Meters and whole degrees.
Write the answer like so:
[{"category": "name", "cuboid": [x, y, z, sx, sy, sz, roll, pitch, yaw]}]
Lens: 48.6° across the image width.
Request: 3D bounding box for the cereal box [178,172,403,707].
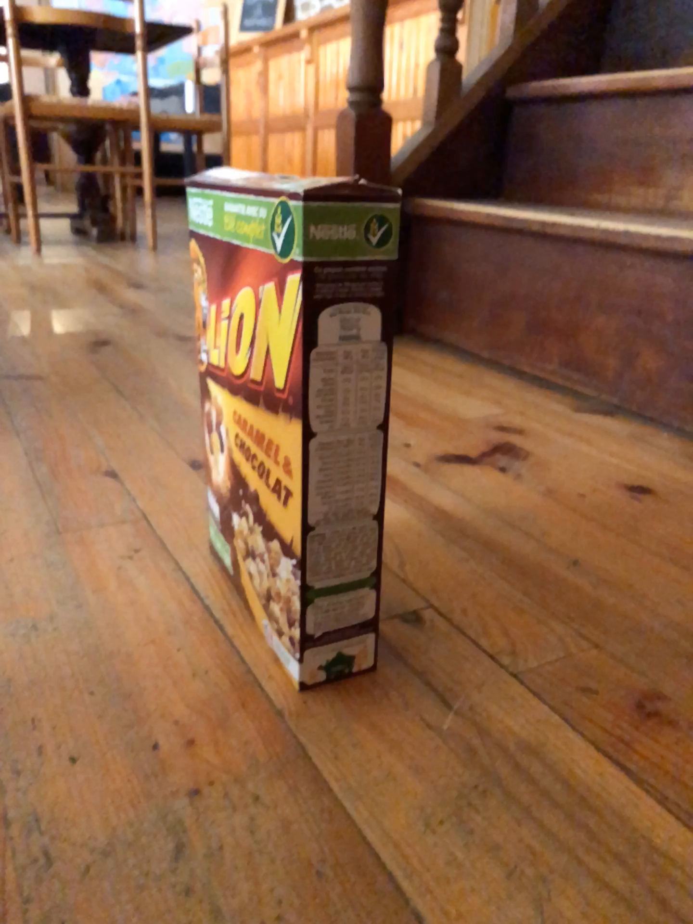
[{"category": "cereal box", "cuboid": [-0.048, -0.030, 0.481, 0.060, 0.279, 0.200, -7, 22, -24]}]
